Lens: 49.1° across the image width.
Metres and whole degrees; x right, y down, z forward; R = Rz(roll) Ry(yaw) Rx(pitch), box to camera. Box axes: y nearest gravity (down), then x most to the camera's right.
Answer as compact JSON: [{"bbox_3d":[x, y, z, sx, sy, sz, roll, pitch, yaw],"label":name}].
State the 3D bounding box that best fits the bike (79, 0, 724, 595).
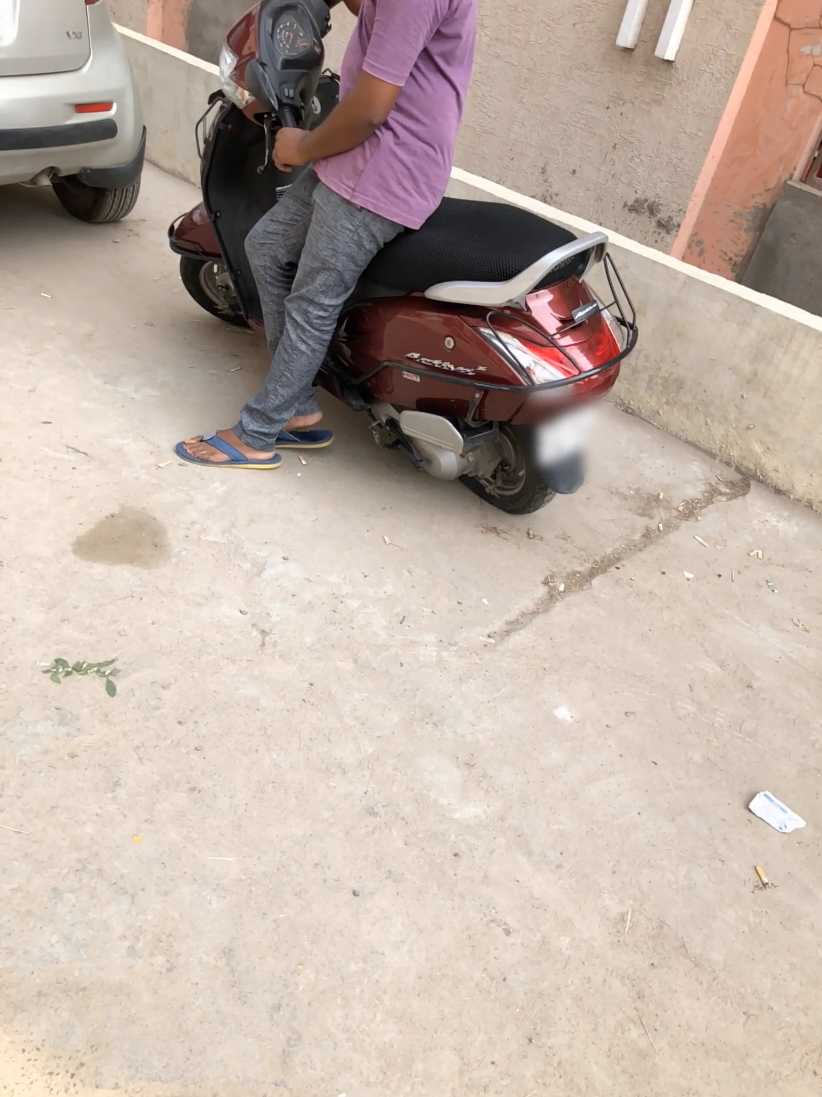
[{"bbox_3d":[-0.193,-0.810,2.433,1.577,1.072,0.633,35,38,30],"label":"bike"}]
